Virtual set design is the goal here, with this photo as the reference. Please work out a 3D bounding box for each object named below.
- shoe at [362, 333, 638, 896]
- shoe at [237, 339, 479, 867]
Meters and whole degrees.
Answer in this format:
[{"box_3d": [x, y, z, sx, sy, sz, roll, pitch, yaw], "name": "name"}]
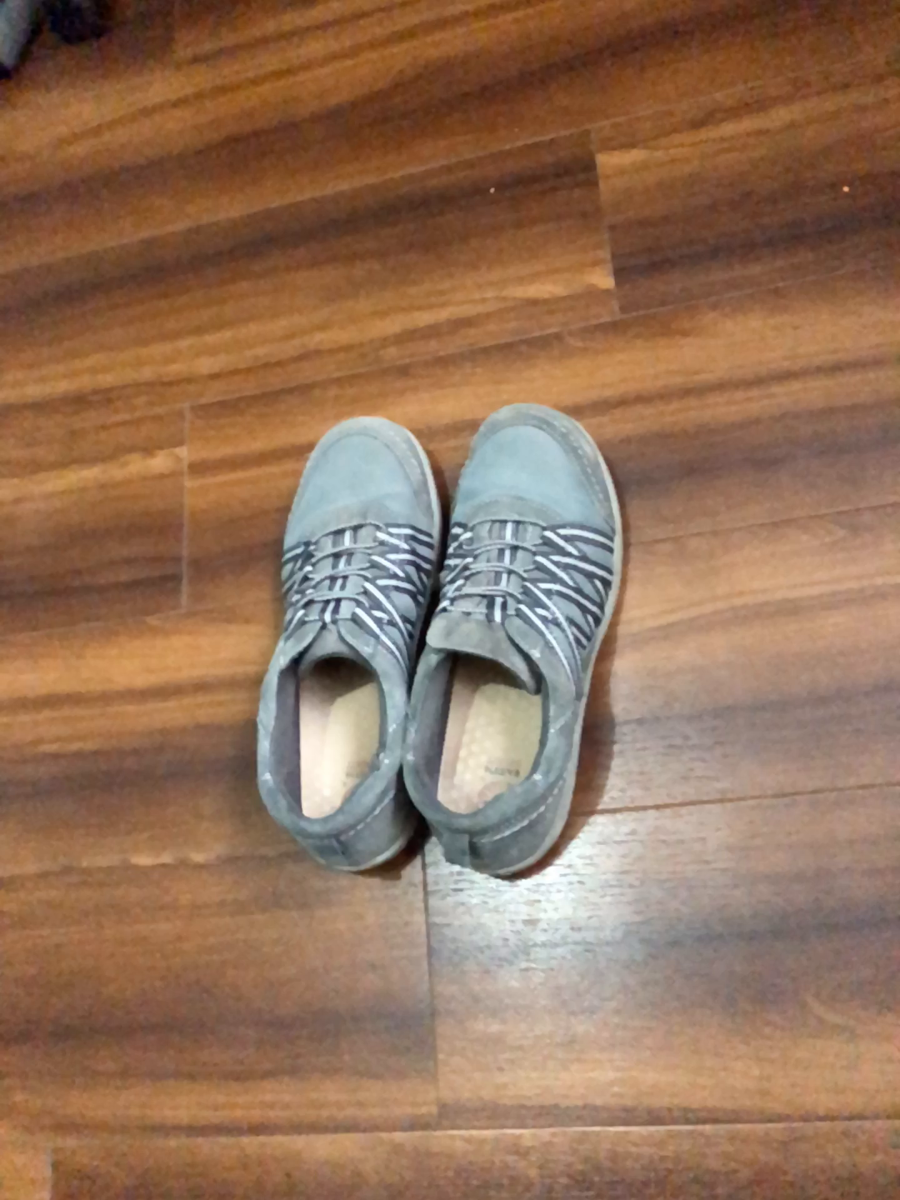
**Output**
[{"box_3d": [0.038, 0.009, 0.542, 0.100, 0.110, 0.280, 3, 74, 16], "name": "shoe"}, {"box_3d": [-0.052, 0.006, 0.584, 0.100, 0.110, 0.281, -7, 71, 13], "name": "shoe"}]
